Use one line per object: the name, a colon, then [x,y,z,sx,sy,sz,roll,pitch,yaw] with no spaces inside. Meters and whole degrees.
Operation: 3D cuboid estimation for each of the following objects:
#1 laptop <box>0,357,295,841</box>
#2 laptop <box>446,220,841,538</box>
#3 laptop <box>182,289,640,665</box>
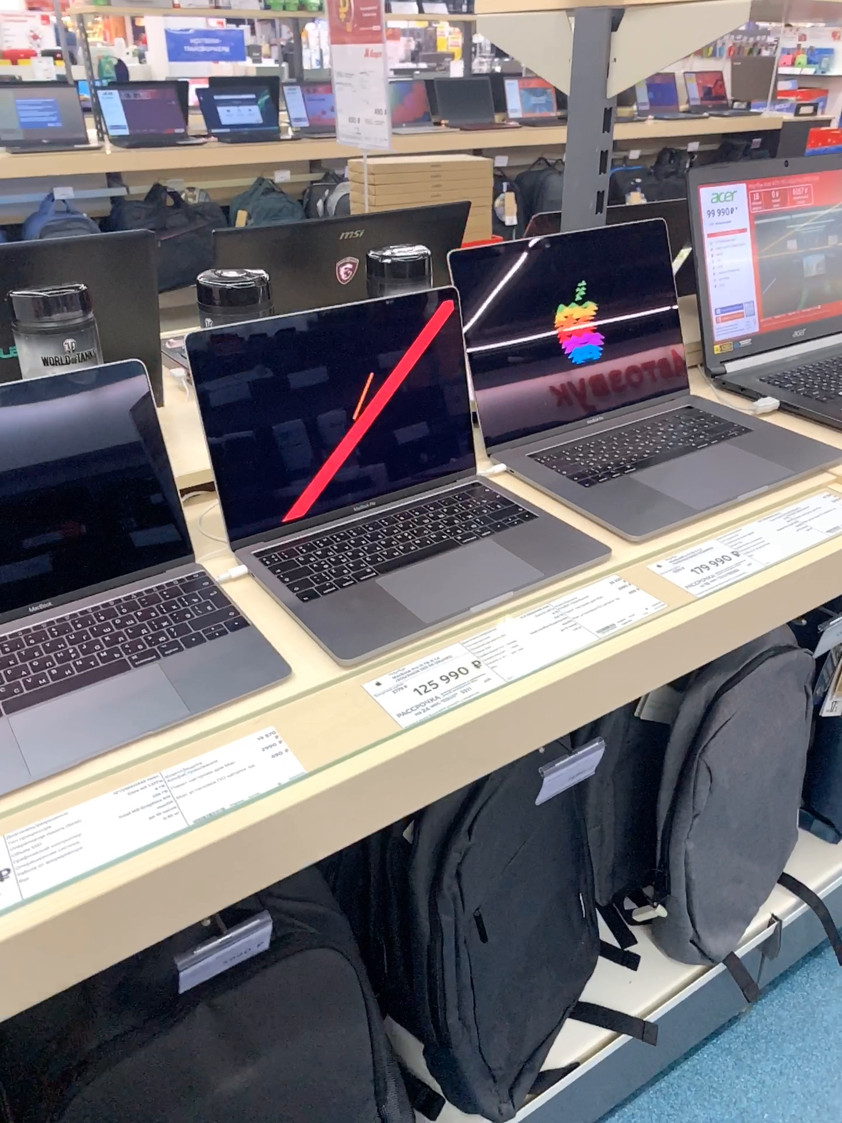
laptop: [-0.288,-0.005,0.648,0.281,0.172,0.266,-20,37,-30]
laptop: [0.265,-0.236,0.988,0.347,0.210,0.328,-19,36,-28]
laptop: [-0.013,-0.103,0.791,0.300,0.195,0.260,-20,36,-30]
